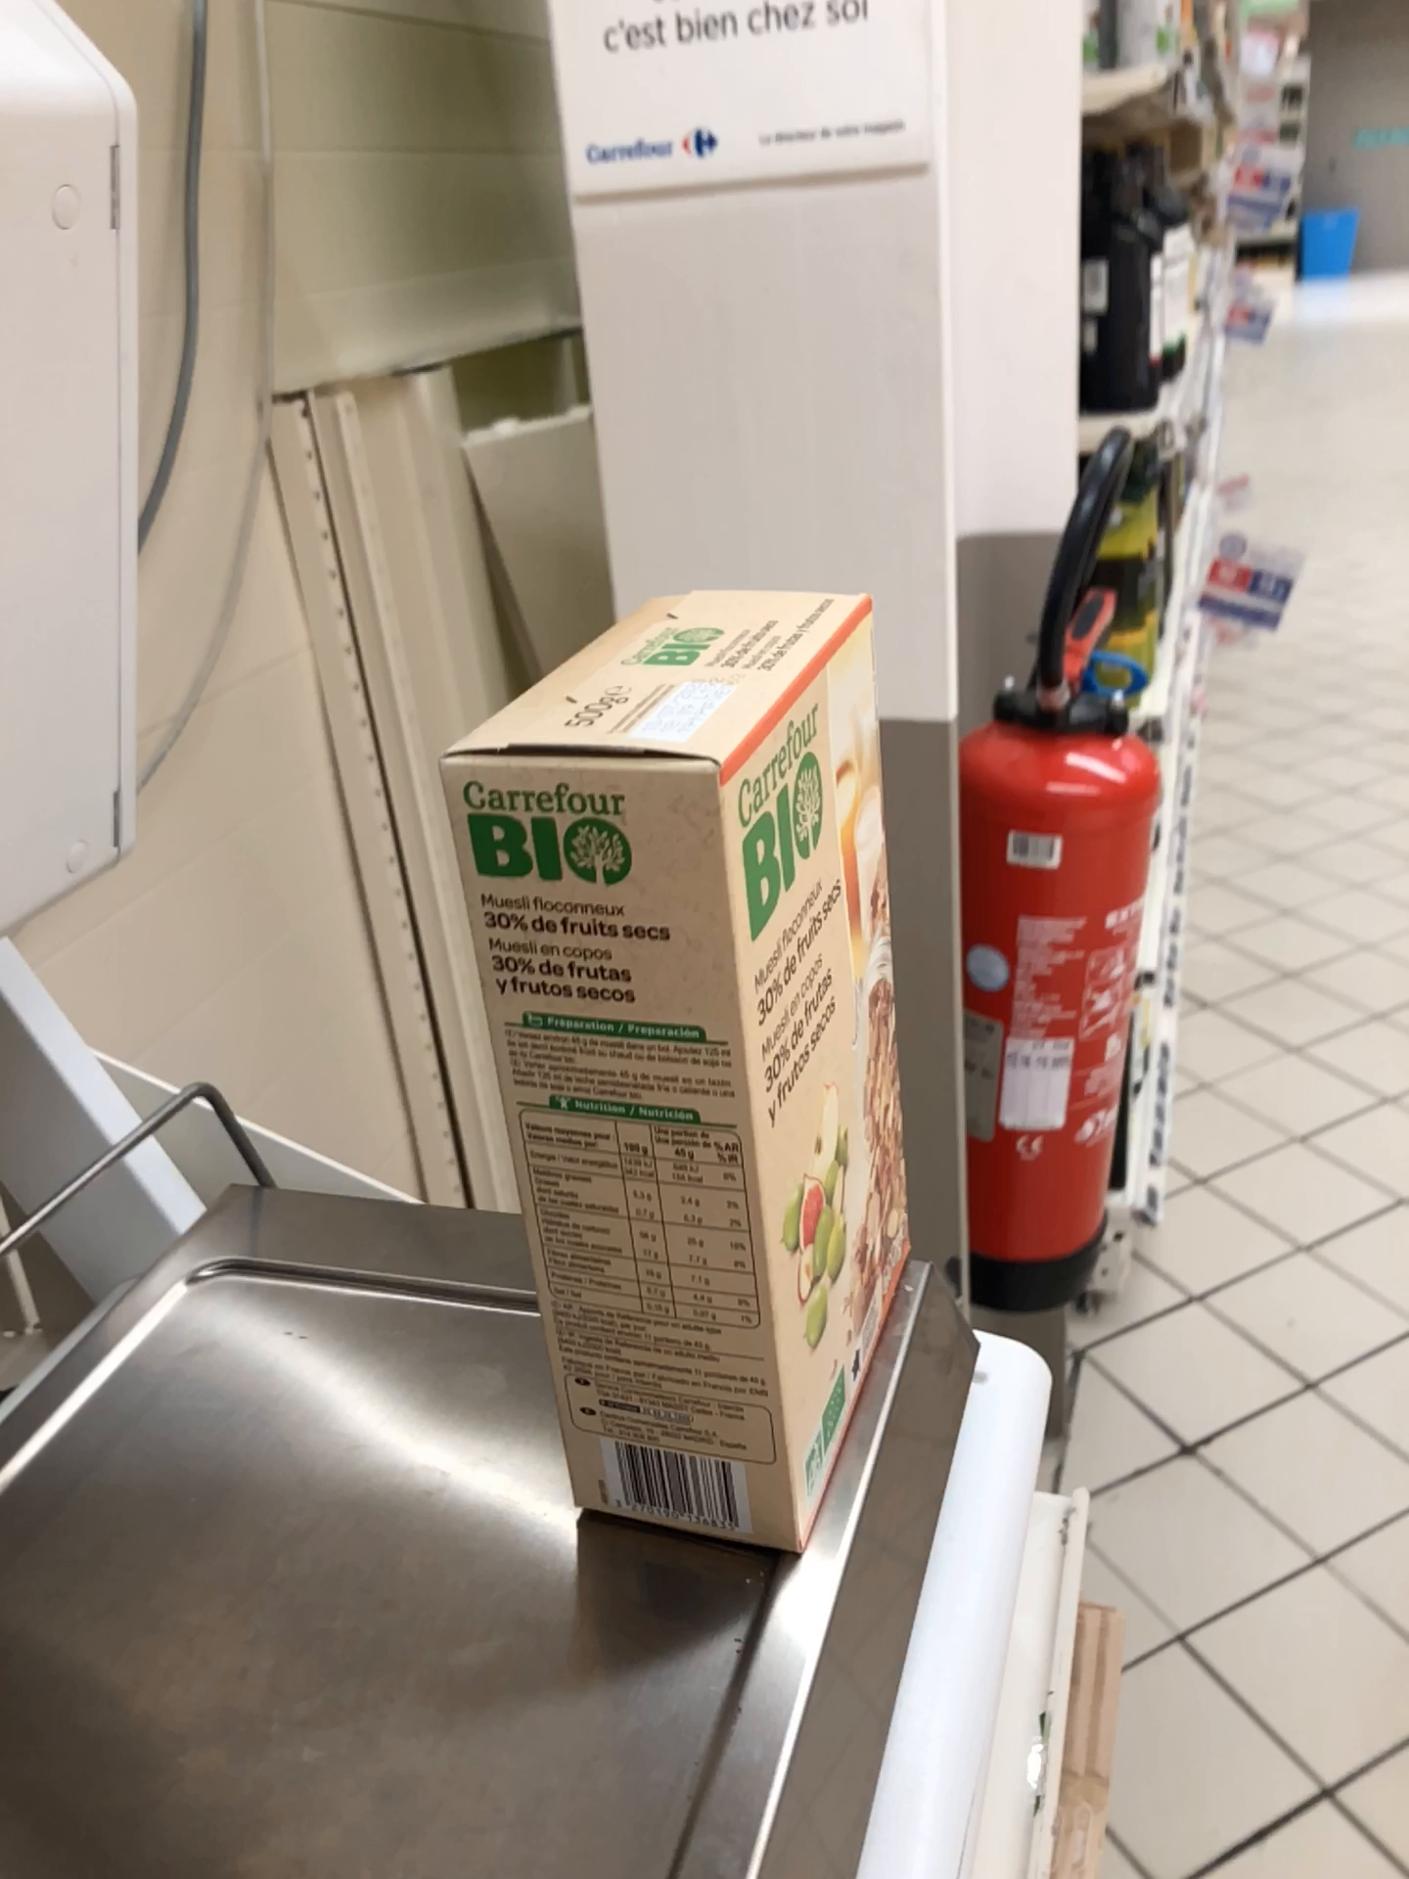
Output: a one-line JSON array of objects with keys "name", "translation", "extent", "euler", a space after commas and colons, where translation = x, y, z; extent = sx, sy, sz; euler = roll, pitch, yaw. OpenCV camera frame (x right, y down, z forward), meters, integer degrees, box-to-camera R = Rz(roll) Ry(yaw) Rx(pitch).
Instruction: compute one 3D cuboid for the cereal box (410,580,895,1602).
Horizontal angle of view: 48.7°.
[{"name": "cereal box", "translation": [0.001, 0.032, 0.386], "extent": [0.060, 0.209, 0.131], "euler": [5, 28, 19]}]
